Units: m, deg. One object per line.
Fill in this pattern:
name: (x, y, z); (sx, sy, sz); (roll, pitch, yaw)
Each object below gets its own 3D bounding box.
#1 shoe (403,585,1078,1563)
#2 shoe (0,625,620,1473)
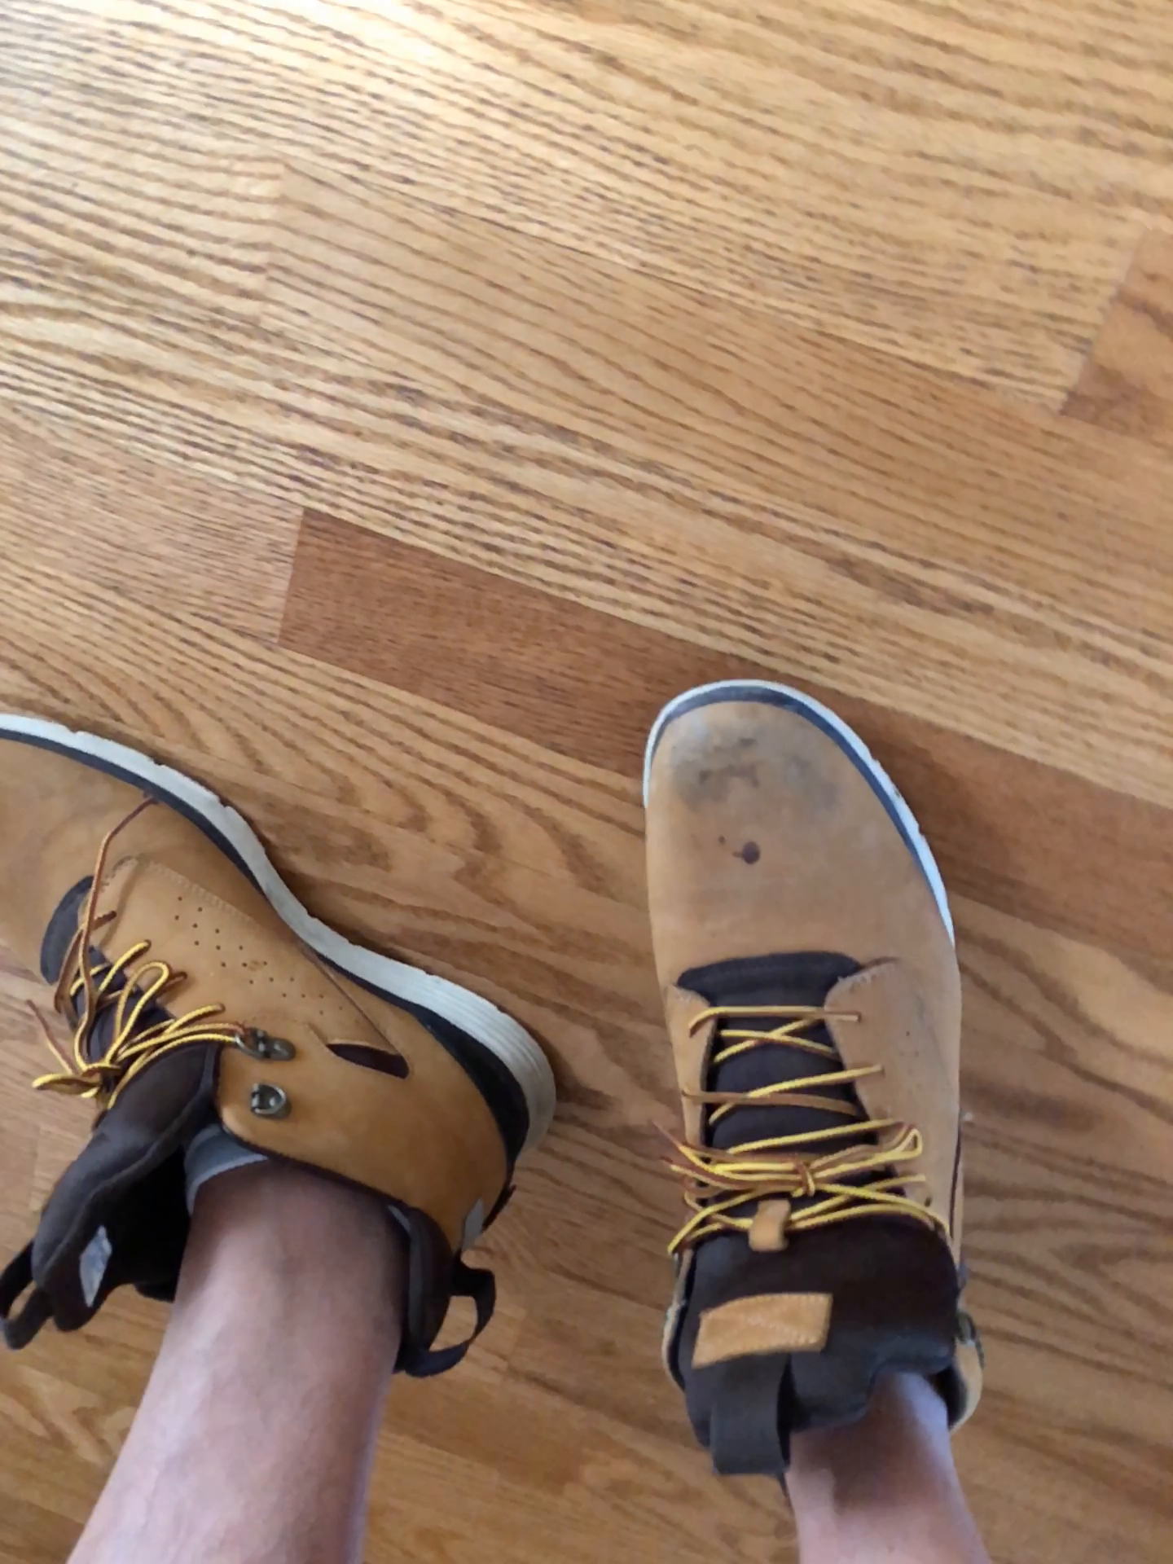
shoe: (0.074, 0.115, 0.451); (0.130, 0.170, 0.301); (-10, 121, 18)
shoe: (-0.169, 0.094, 0.532); (0.320, 0.140, 0.130); (38, 115, 5)
